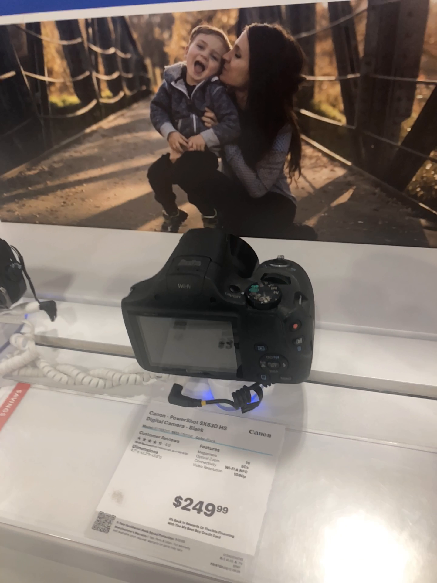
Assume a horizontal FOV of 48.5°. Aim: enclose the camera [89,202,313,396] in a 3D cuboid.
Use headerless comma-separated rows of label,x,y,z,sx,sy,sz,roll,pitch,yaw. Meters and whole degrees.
camera,-0.001,-0.001,0.327,0.120,0.070,0.110,3,40,13
